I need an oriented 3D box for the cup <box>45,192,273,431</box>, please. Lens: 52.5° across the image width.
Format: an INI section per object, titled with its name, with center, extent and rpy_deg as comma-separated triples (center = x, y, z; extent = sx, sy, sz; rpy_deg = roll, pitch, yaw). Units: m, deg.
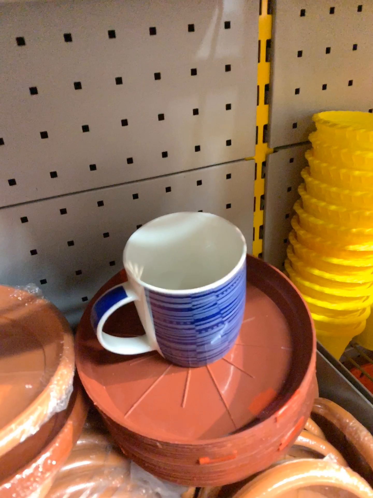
[cup]
center = -0.017, 0.039, 0.299
extent = 0.130, 0.100, 0.100
rpy_deg = -27, 41, -25
